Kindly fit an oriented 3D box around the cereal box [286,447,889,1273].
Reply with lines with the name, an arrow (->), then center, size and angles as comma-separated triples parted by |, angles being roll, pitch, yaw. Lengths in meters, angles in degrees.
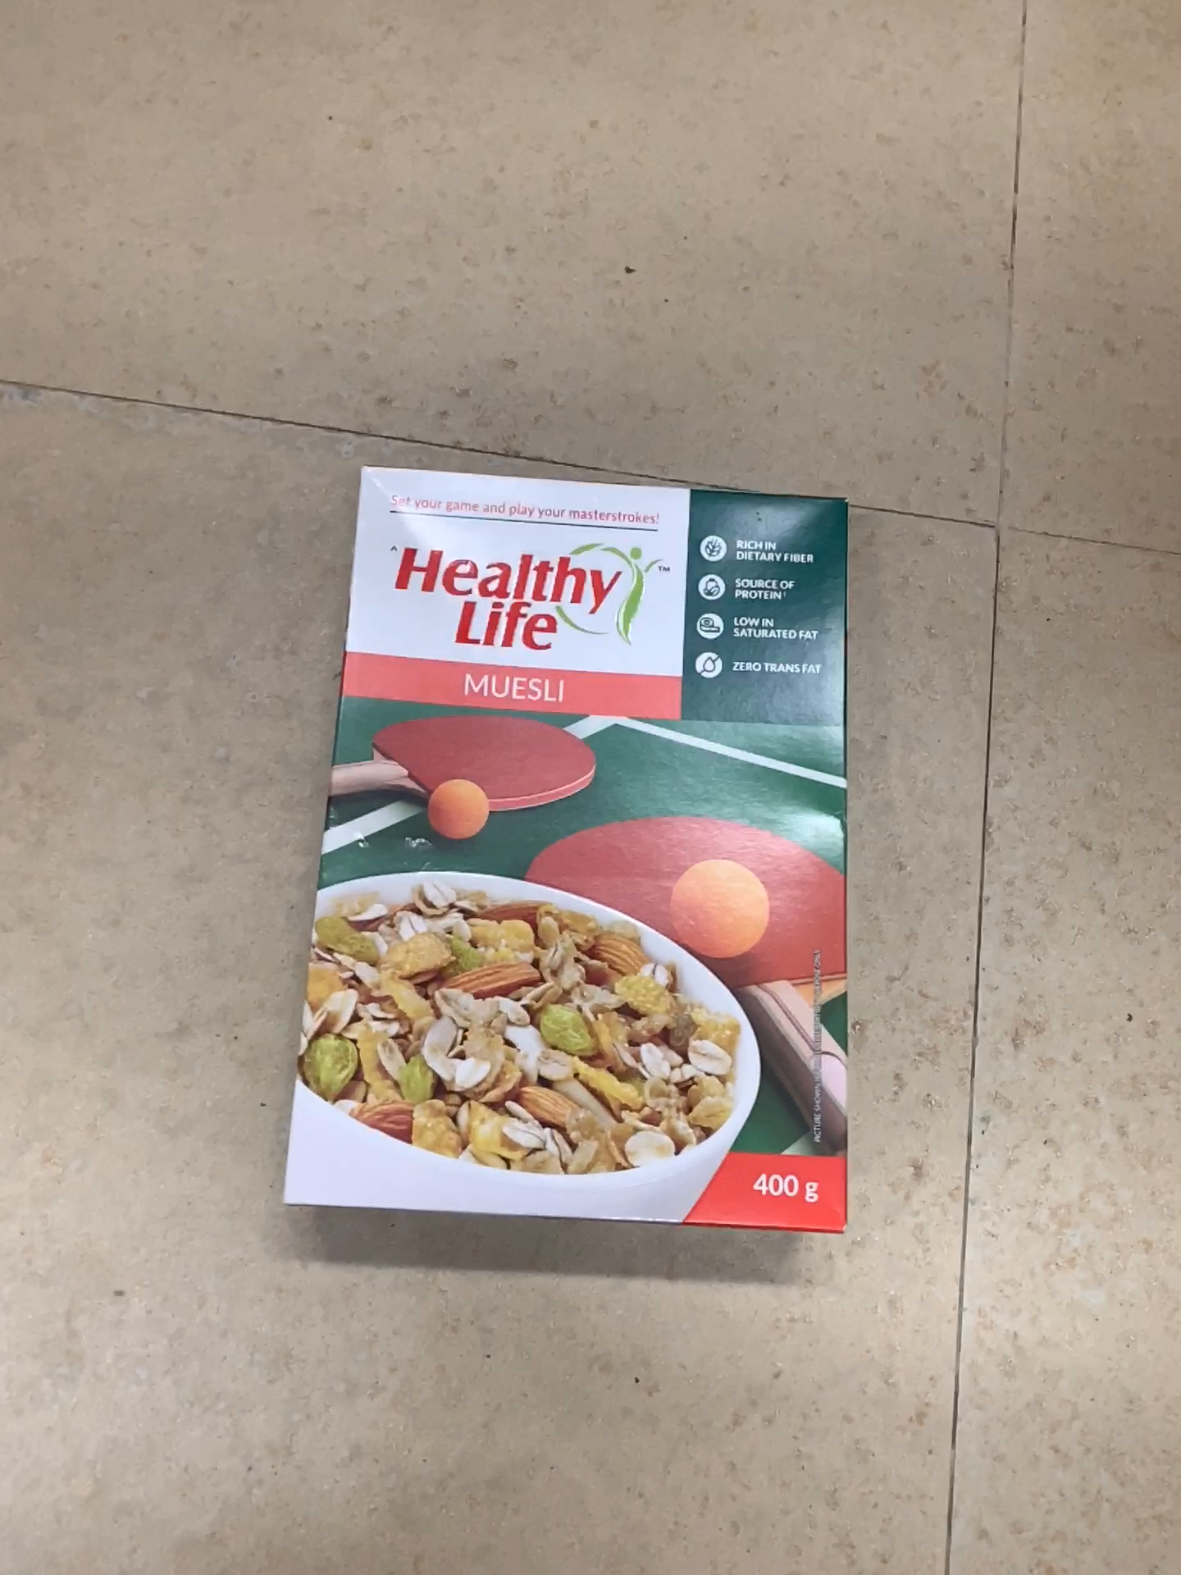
cereal box -> 0.003, 0.023, 0.385 | 0.160, 0.080, 0.230 | 4, 76, -4
